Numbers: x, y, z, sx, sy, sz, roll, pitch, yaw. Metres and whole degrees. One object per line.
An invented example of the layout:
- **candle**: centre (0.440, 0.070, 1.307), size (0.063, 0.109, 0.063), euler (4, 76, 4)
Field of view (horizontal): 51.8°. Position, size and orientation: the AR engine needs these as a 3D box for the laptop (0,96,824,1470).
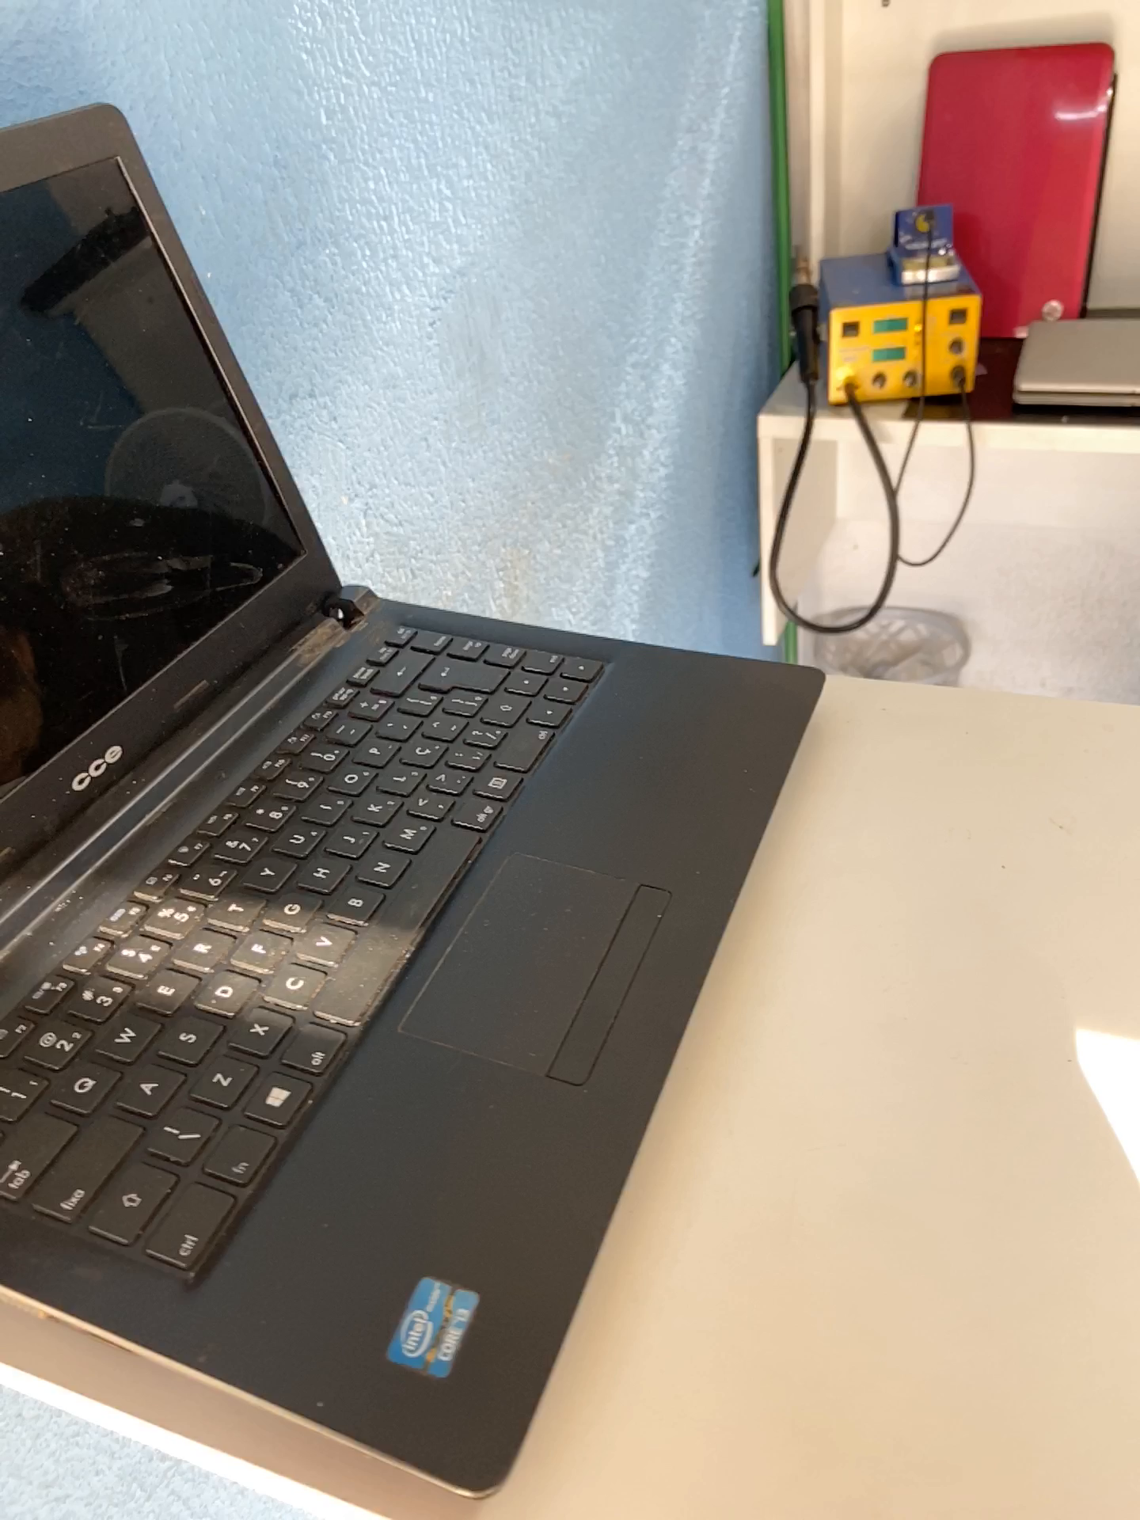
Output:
- **laptop**: centre (-0.113, -0.059, 0.370), size (0.312, 0.211, 0.335), euler (11, 39, 20)
